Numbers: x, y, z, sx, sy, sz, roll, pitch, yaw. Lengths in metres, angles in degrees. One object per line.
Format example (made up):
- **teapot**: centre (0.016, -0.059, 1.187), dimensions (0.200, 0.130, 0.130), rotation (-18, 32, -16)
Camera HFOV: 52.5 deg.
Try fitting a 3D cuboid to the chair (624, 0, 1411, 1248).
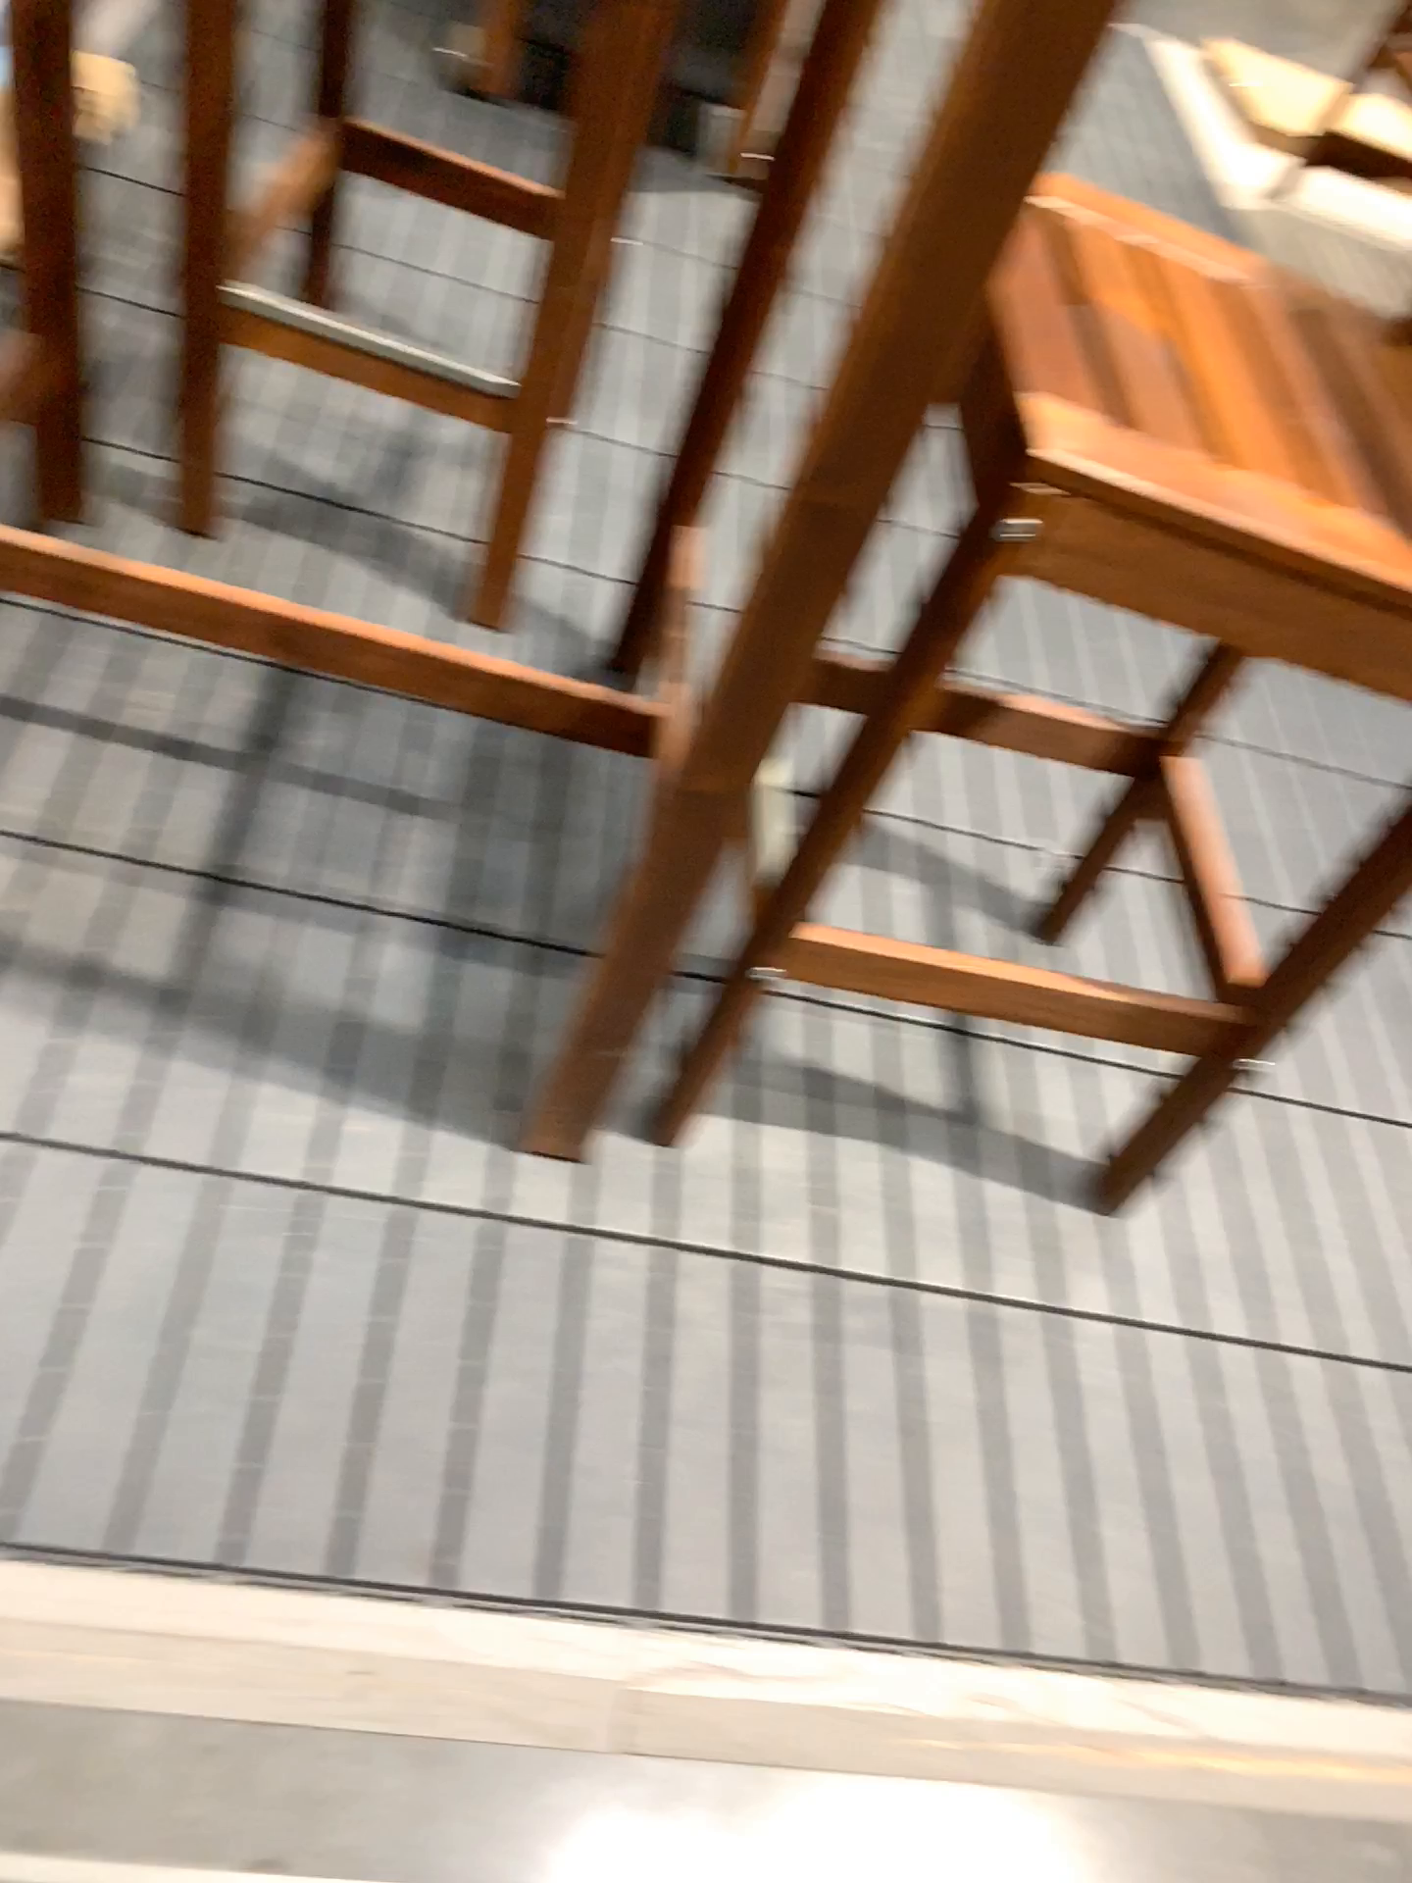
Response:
- **chair**: centre (0.383, -0.302, 1.264), dimensions (0.600, 1.145, 0.593), rotation (13, 49, -12)
